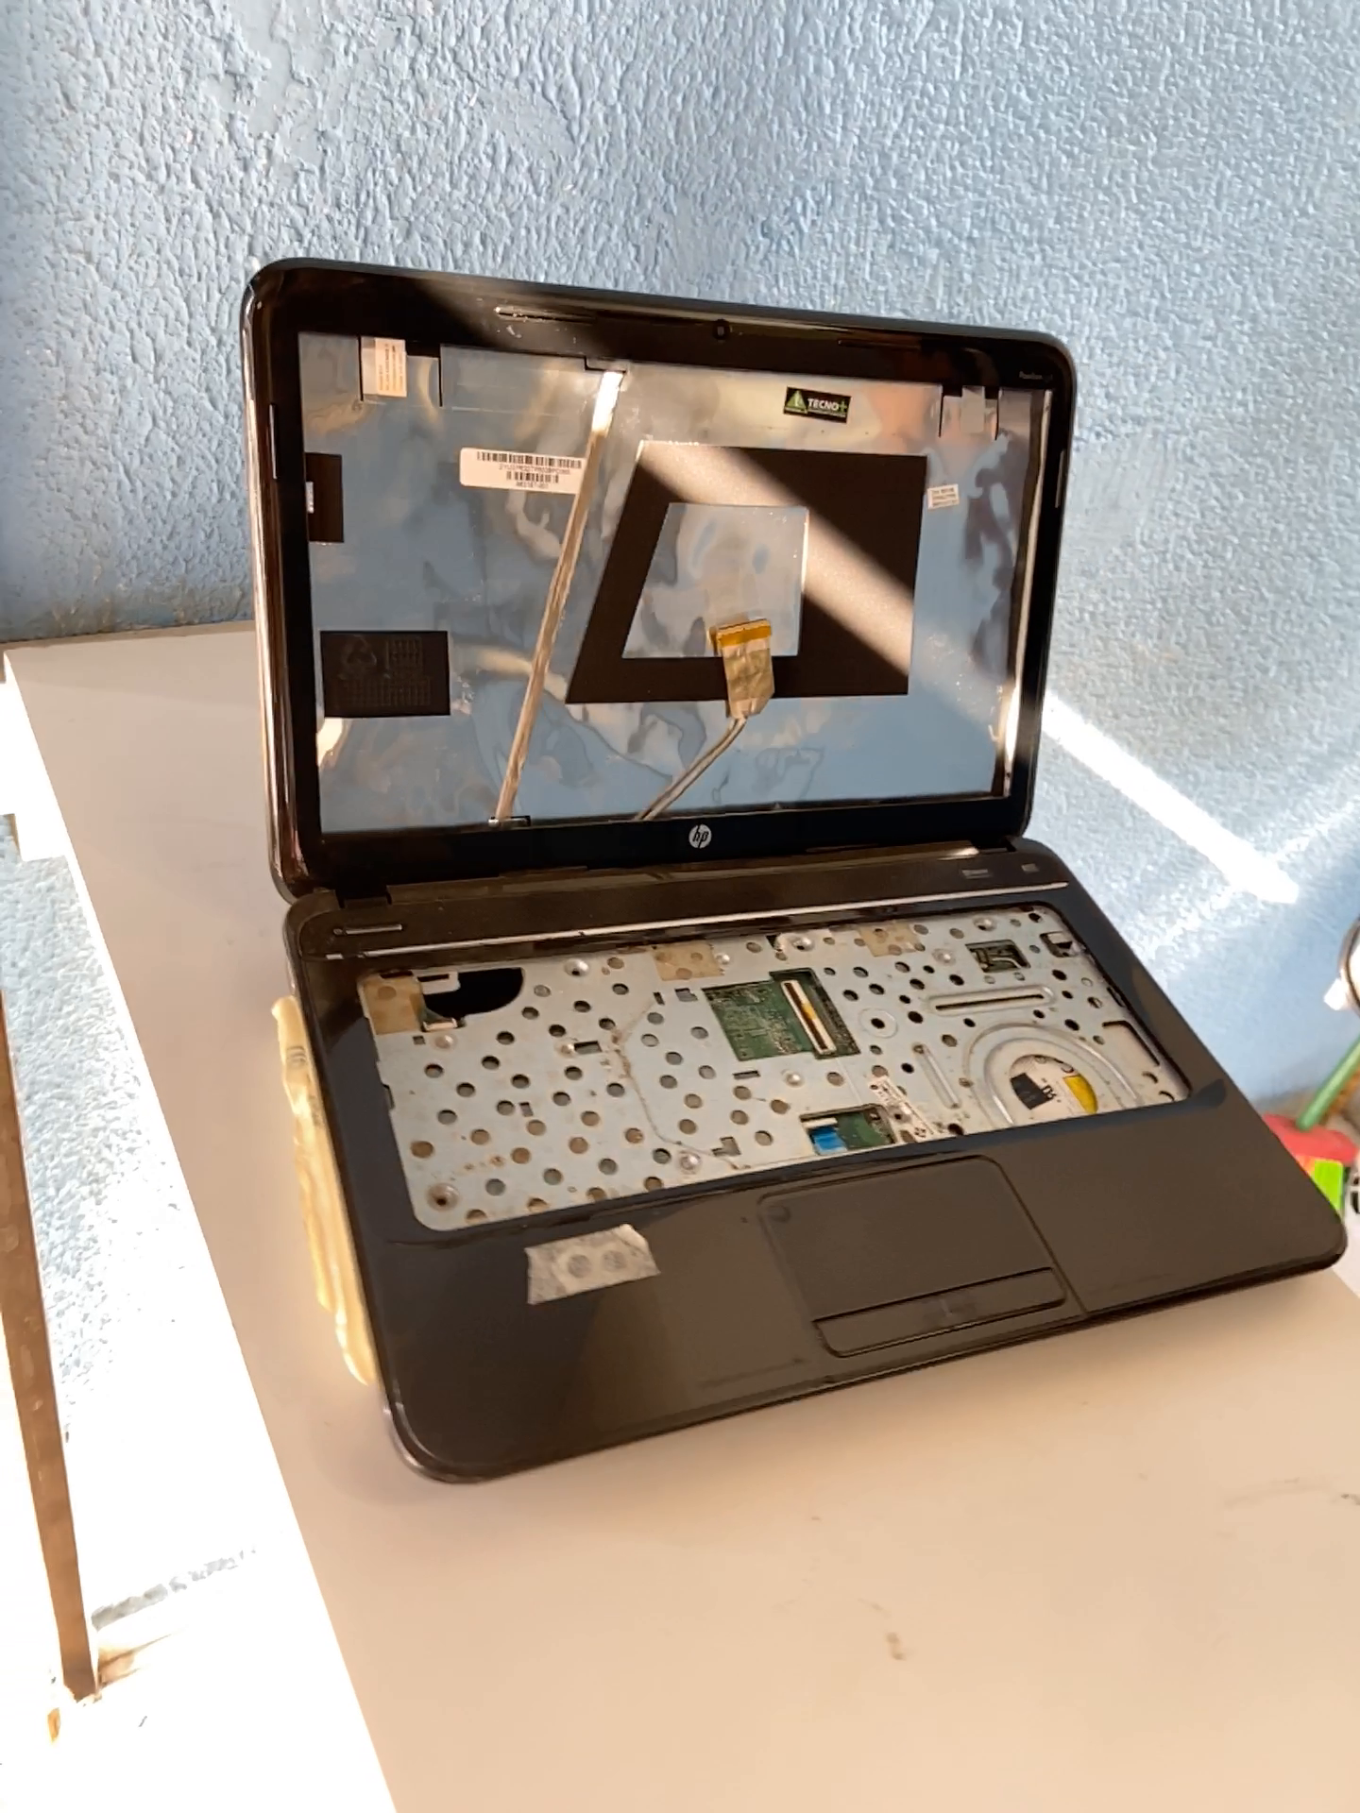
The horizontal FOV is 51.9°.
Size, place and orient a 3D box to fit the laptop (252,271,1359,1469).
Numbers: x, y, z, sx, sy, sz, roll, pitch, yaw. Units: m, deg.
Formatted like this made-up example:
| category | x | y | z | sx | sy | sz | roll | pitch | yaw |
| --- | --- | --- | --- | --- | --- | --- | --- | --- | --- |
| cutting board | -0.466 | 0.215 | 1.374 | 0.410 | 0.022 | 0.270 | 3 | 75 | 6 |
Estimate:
| category | x | y | z | sx | sy | sz | roll | pitch | yaw |
| --- | --- | --- | --- | --- | --- | --- | --- | --- | --- |
| laptop | 0.049 | -0.048 | 0.480 | 0.336 | 0.186 | 0.325 | -5 | 43 | -23 |
